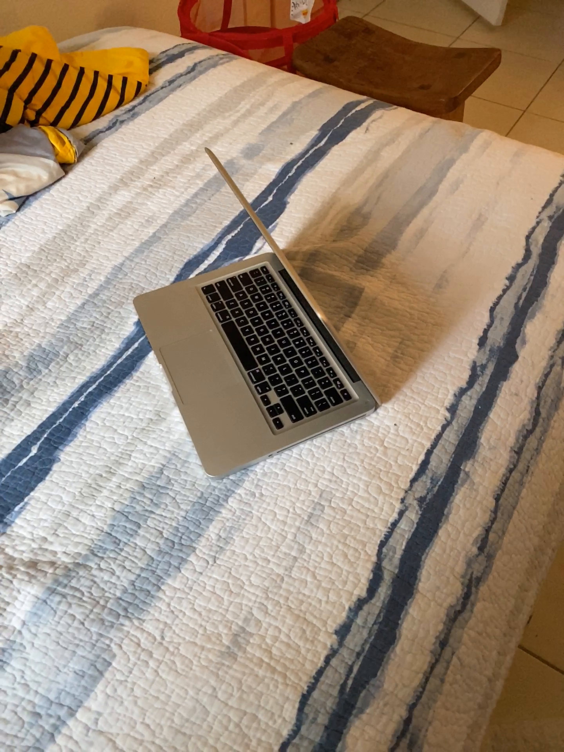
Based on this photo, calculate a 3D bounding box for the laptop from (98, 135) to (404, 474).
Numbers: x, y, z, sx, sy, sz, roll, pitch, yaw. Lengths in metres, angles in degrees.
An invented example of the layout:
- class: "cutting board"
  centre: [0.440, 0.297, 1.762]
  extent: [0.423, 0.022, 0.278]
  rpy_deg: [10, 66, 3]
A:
- class: "laptop"
  centre: [-0.050, -0.097, 0.692]
  extent: [0.220, 0.191, 0.316]
  rpy_deg: [-21, 54, -13]
